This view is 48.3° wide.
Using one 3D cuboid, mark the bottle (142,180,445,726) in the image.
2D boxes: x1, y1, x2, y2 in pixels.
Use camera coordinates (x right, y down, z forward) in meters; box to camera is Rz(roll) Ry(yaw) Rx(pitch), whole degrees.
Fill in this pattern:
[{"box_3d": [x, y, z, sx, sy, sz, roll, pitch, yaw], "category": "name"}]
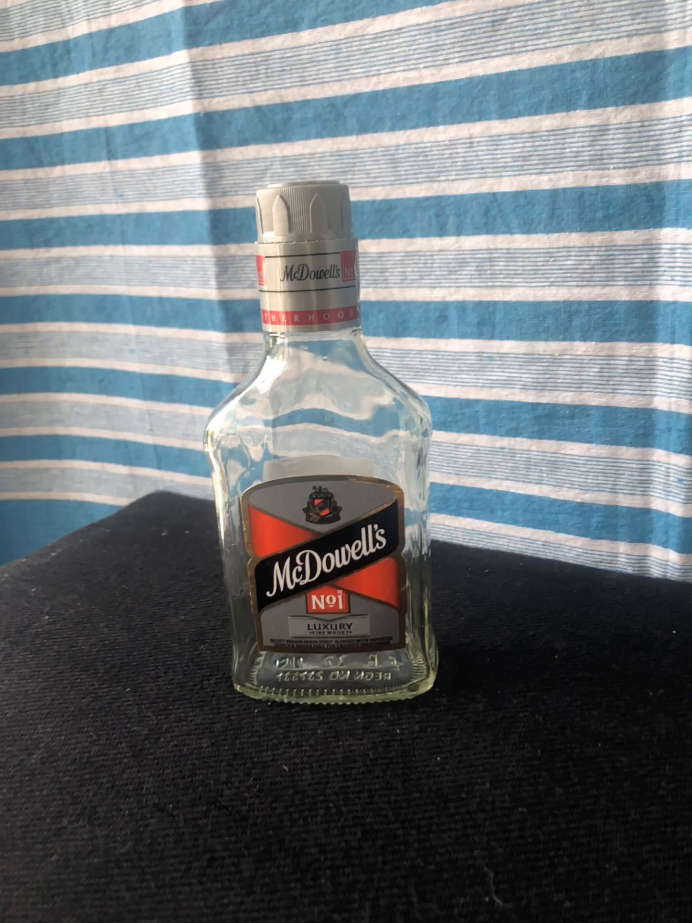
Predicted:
[{"box_3d": [-0.008, -0.001, 0.226, 0.070, 0.149, 0.050, -1, 19, 4], "category": "bottle"}]
